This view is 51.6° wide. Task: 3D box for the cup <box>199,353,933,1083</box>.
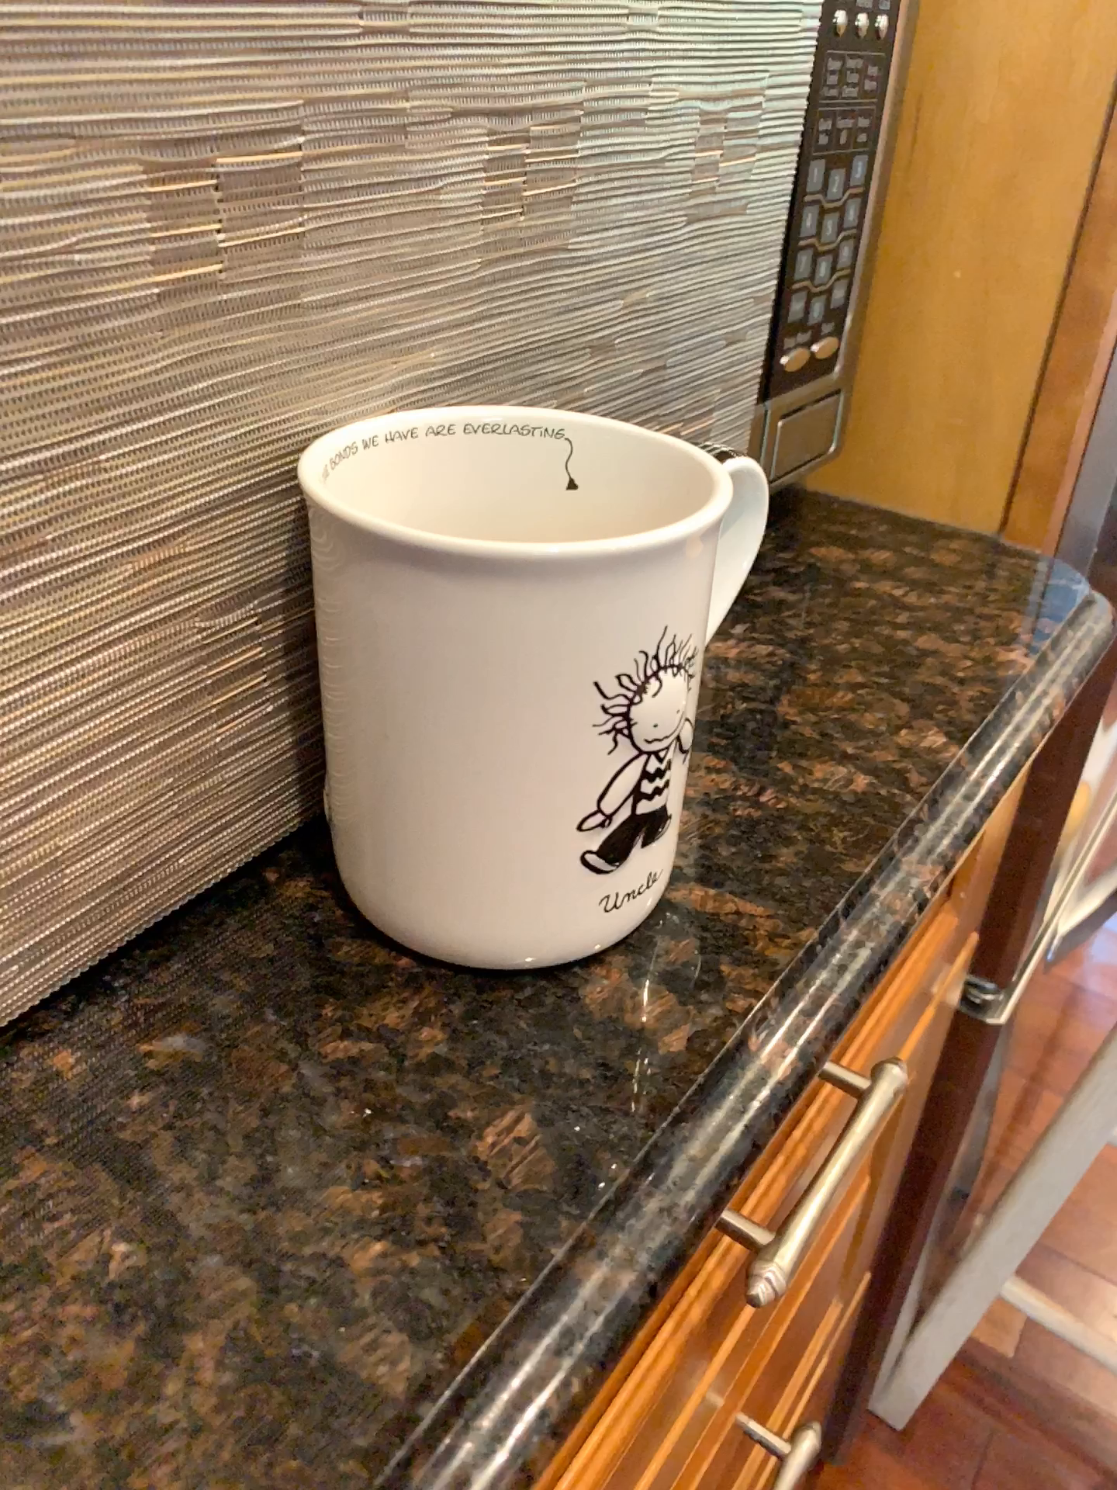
[{"bbox_3d":[0.004,-0.020,0.281,0.100,0.109,0.130,26,38,32],"label":"cup"}]
